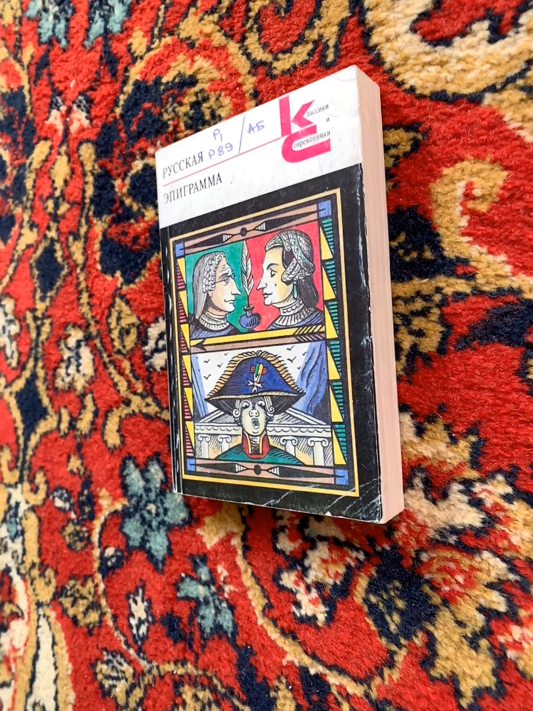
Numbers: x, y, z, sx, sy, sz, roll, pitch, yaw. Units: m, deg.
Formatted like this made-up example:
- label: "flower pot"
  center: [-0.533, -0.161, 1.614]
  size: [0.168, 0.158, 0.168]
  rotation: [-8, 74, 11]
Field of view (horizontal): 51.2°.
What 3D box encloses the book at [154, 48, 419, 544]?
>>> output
- label: "book"
  center: [0.001, -0.018, 0.226]
  size: [0.110, 0.022, 0.163]
  rotation: [-4, 88, 40]
